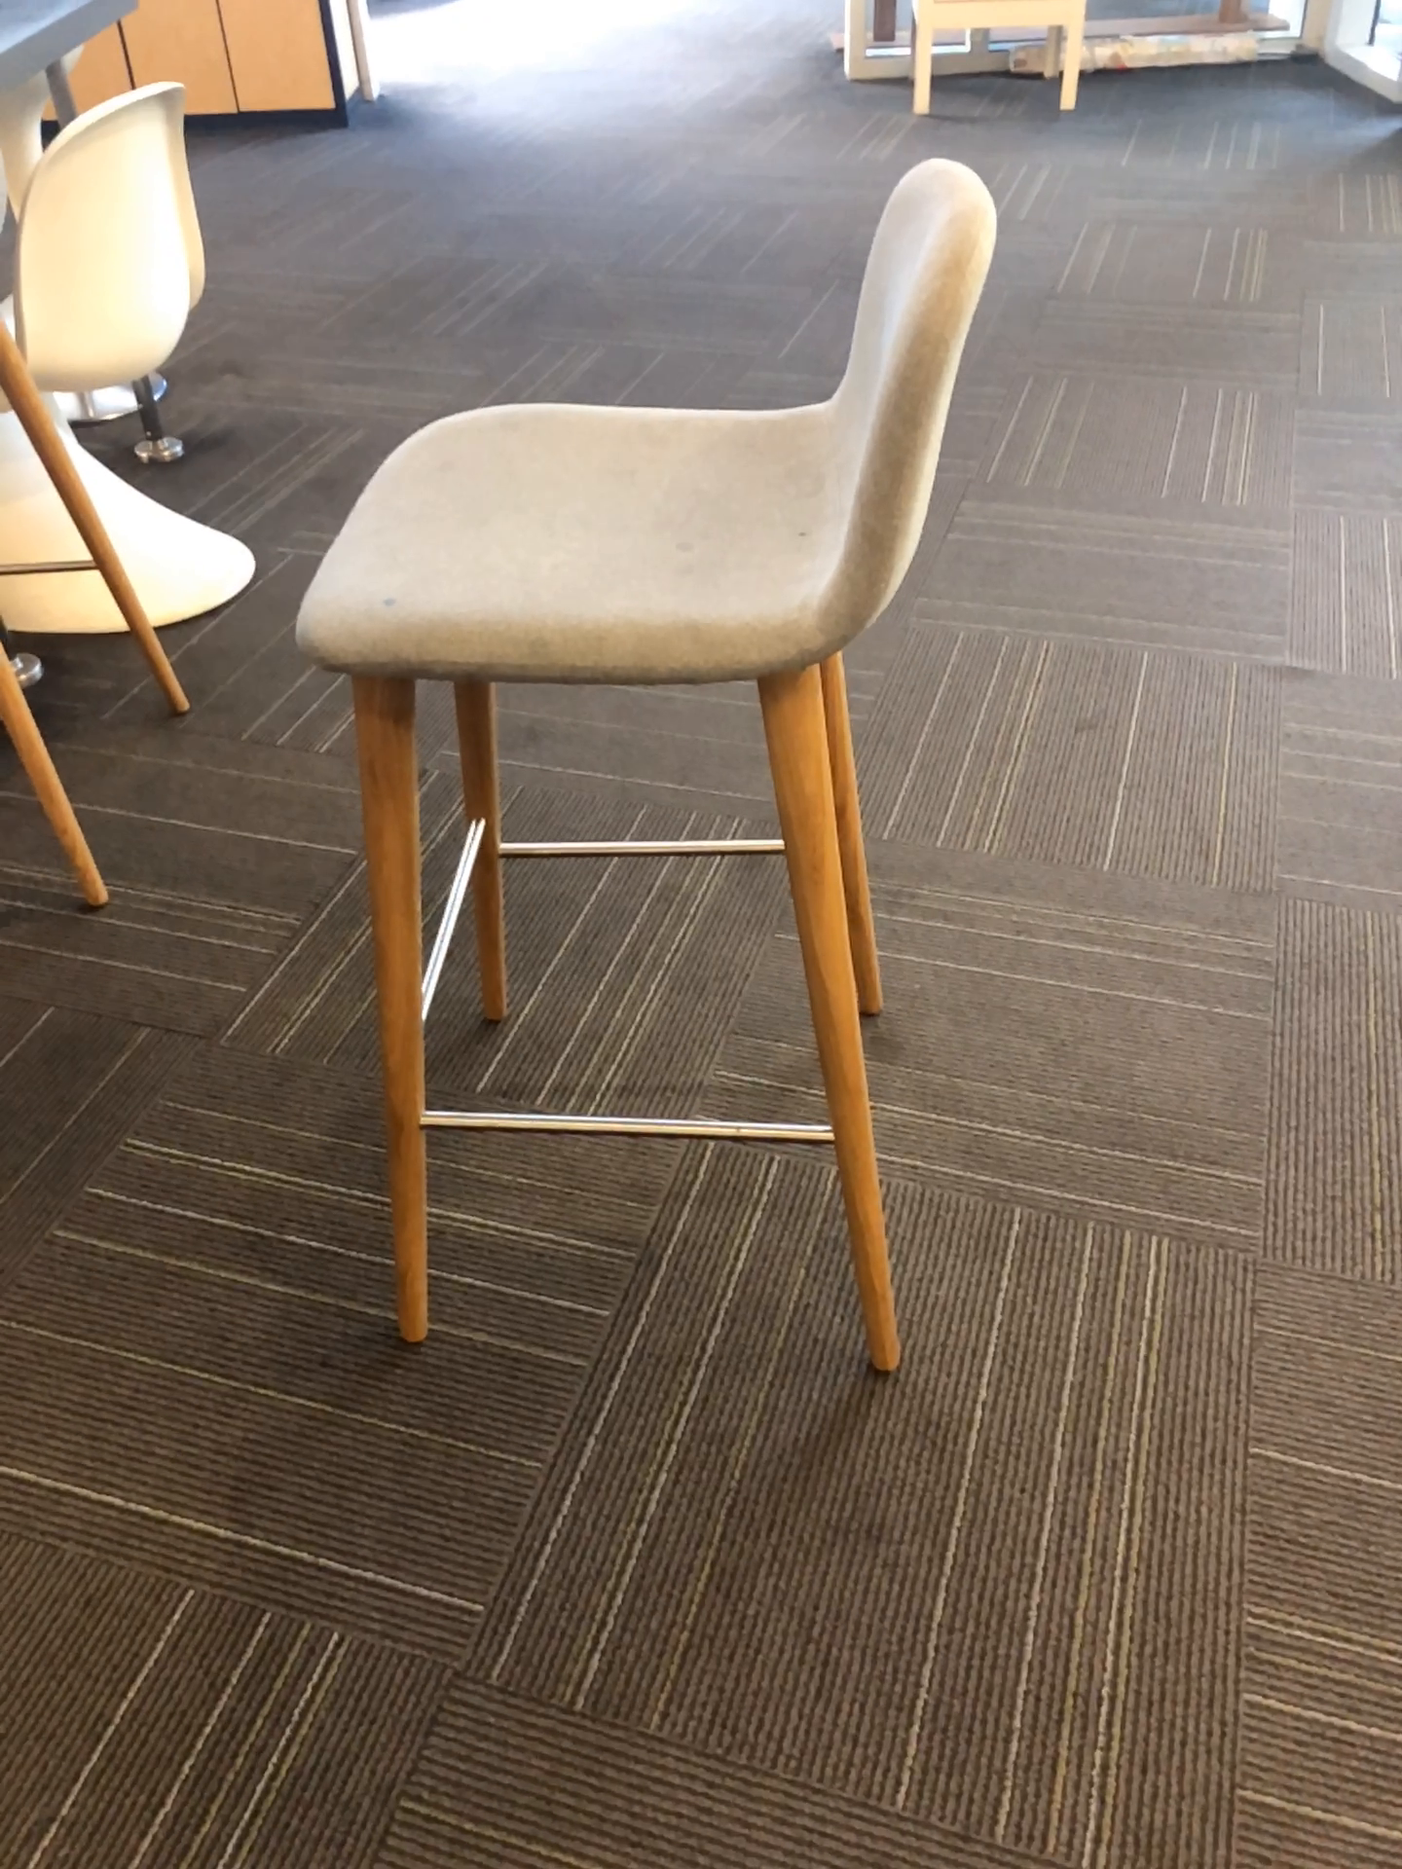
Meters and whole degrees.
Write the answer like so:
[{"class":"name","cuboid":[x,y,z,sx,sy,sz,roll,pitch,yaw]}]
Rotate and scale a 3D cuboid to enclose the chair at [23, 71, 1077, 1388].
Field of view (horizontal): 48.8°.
[{"class":"chair","cuboid":[-0.058,-0.149,1.326,0.560,0.945,0.573,-1,37,2]}]
